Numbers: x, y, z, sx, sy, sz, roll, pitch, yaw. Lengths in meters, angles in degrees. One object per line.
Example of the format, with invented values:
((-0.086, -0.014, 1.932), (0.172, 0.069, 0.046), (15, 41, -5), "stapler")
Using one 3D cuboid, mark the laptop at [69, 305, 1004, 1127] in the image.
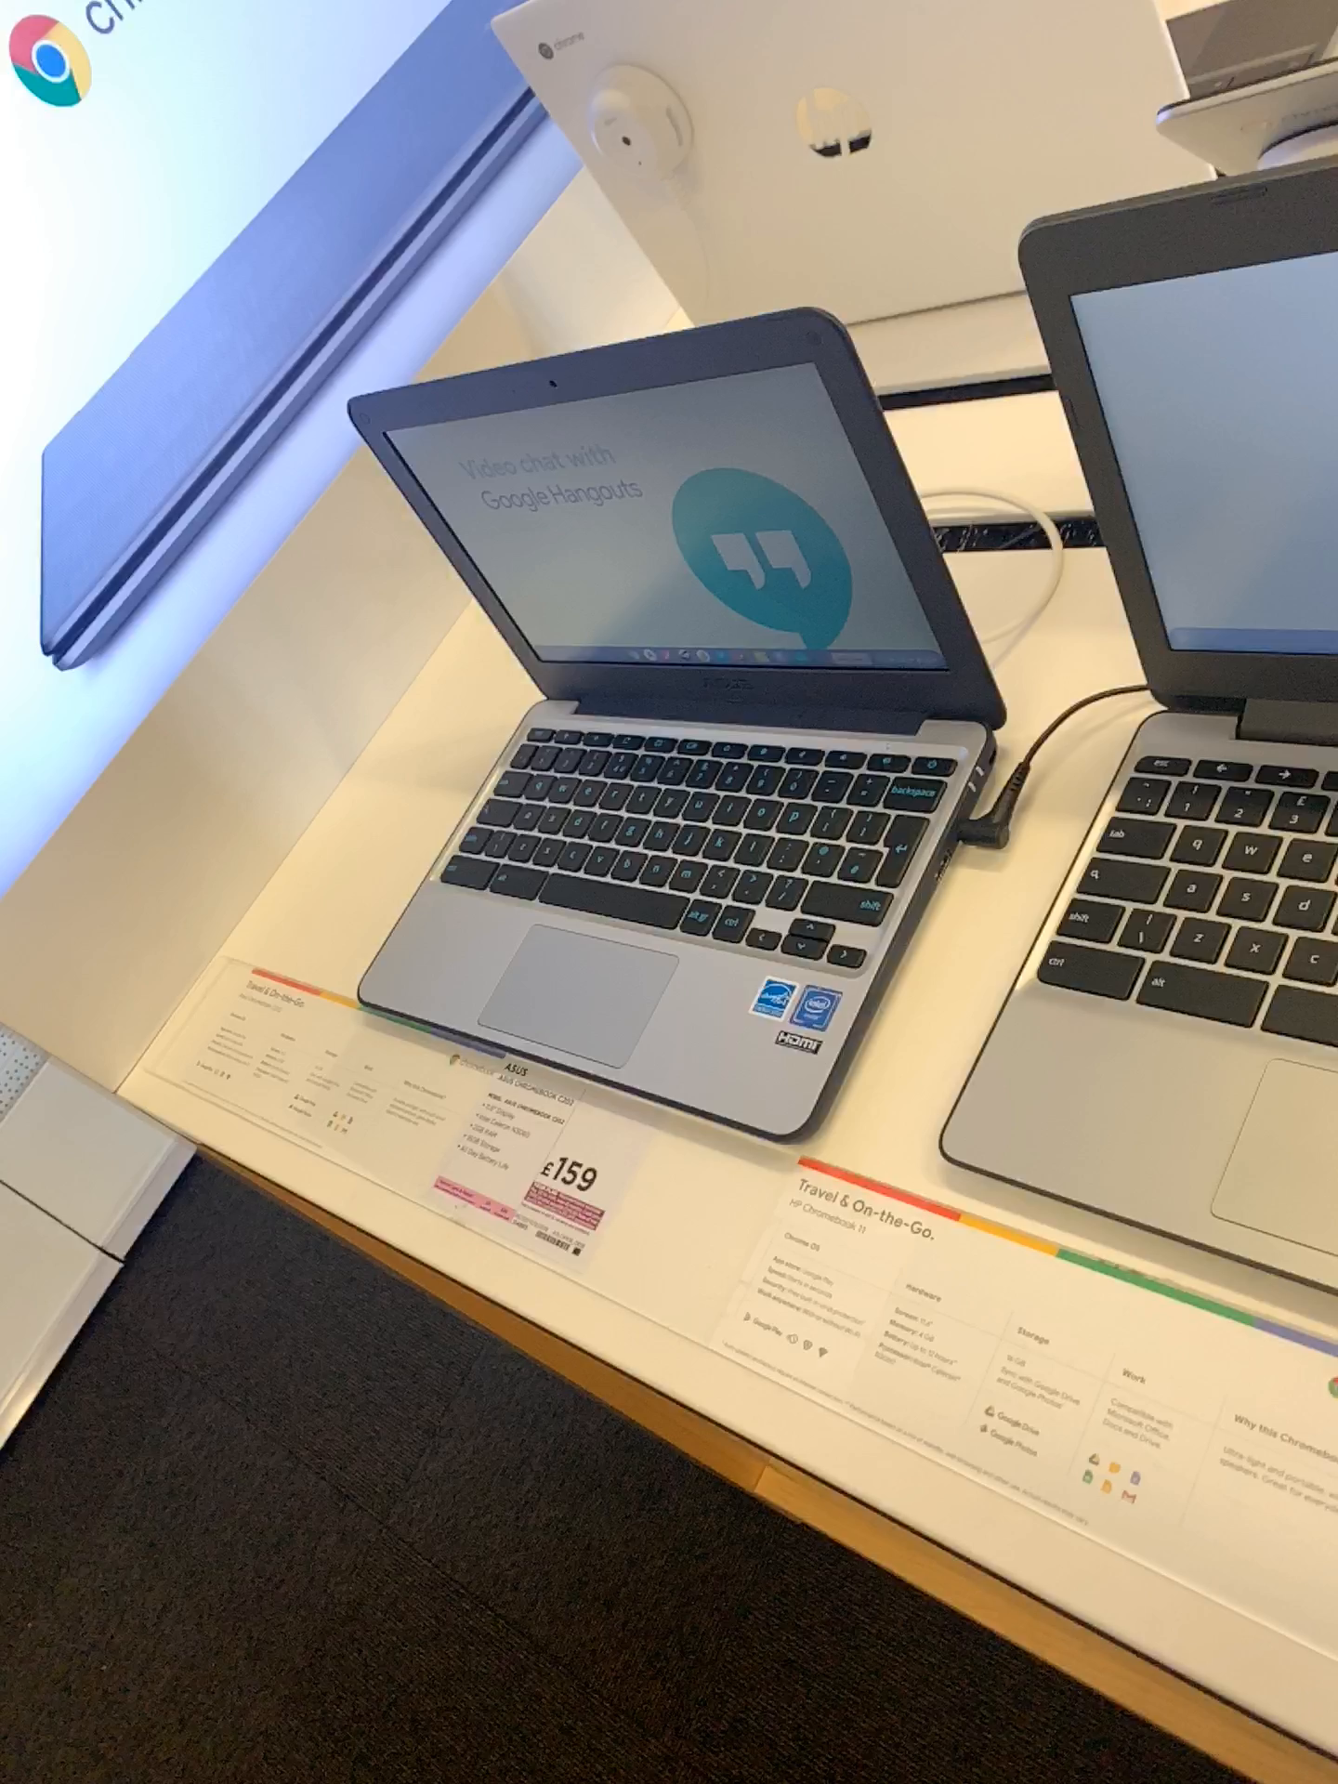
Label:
((-0.055, -0.075, 0.577), (0.281, 0.183, 0.216), (9, 61, 43), "laptop")
